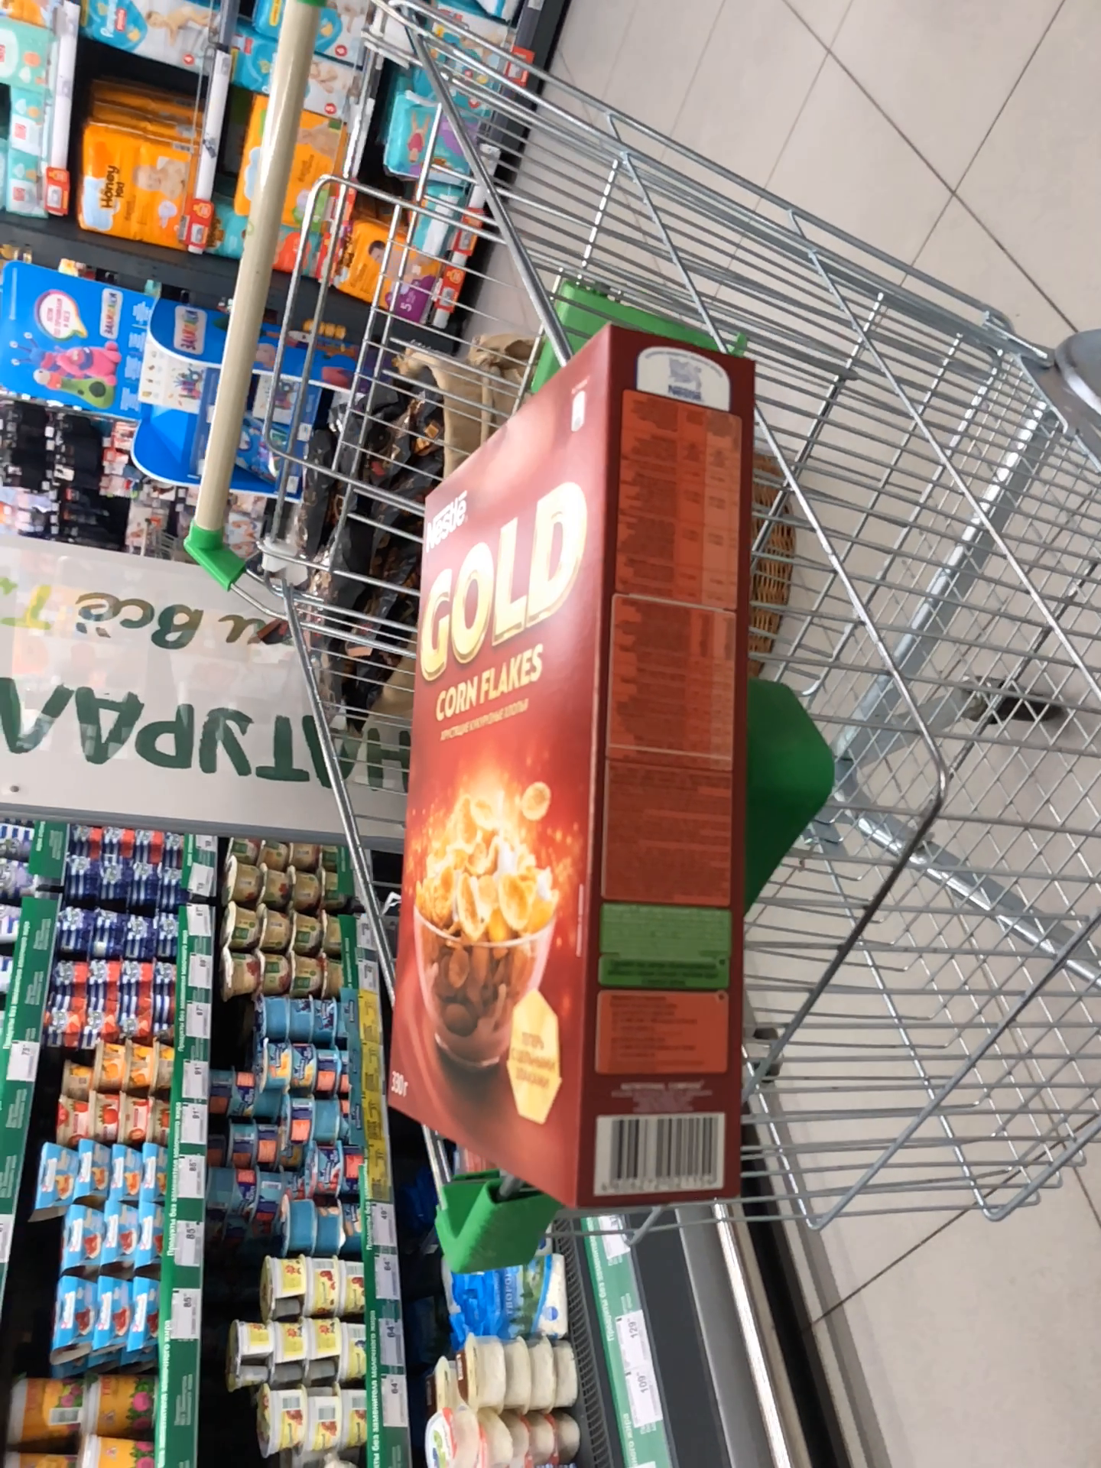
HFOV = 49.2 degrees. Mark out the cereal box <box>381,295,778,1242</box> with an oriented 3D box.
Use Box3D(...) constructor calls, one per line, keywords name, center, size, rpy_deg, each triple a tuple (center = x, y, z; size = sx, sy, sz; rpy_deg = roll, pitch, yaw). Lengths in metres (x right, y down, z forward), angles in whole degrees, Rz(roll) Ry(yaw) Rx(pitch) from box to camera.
Box3D(name="cereal box", center=(0.000, 0.017, 0.461), size=(0.211, 0.060, 0.280), rpy_deg=(164, 110, -67))
